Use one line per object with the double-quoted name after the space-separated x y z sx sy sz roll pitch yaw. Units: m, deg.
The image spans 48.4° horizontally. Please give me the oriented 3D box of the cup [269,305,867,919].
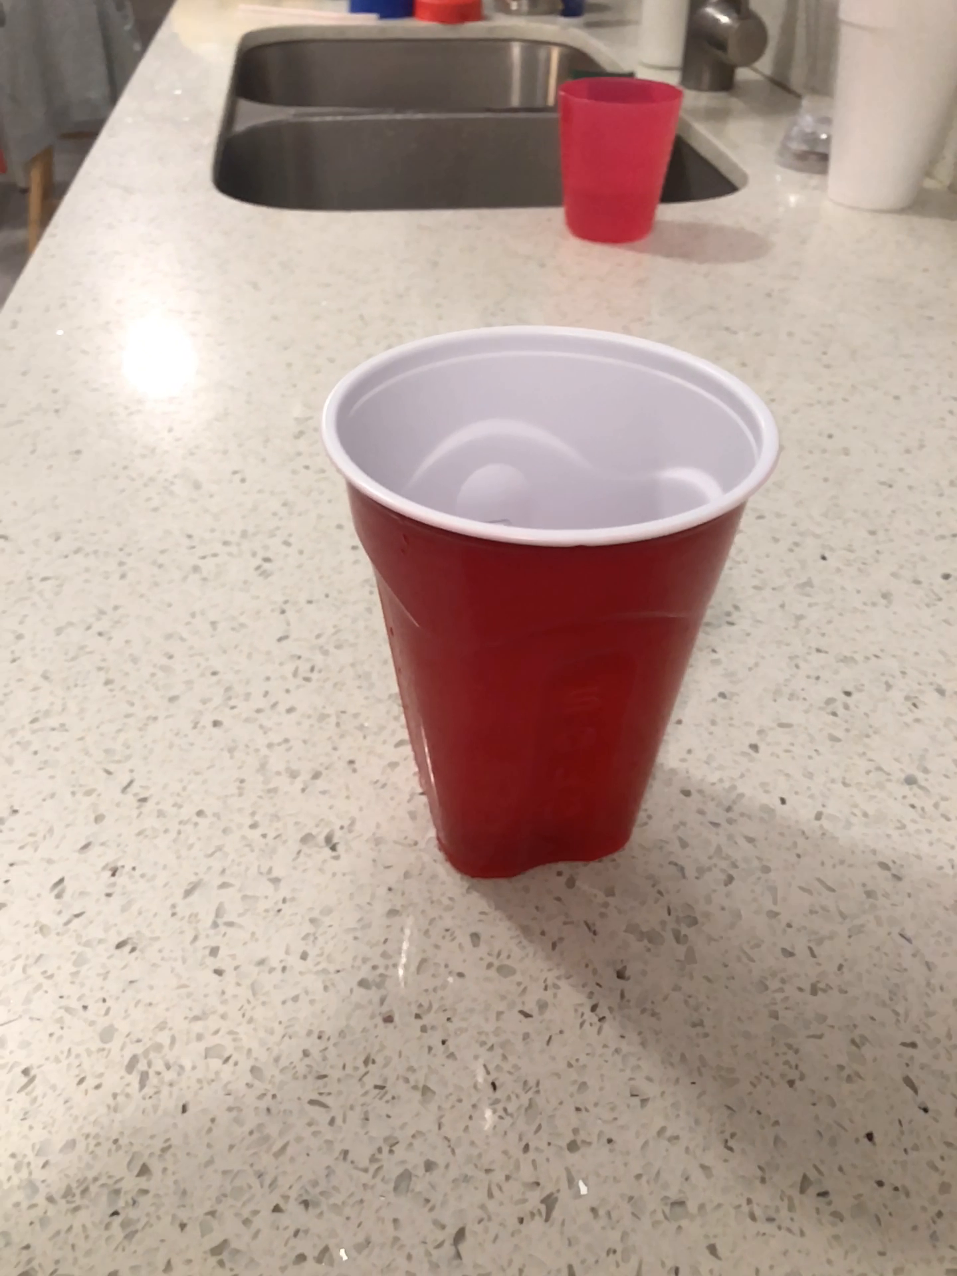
0.010 -0.012 0.252 0.102 0.092 0.101 0 38 0 "cup"
